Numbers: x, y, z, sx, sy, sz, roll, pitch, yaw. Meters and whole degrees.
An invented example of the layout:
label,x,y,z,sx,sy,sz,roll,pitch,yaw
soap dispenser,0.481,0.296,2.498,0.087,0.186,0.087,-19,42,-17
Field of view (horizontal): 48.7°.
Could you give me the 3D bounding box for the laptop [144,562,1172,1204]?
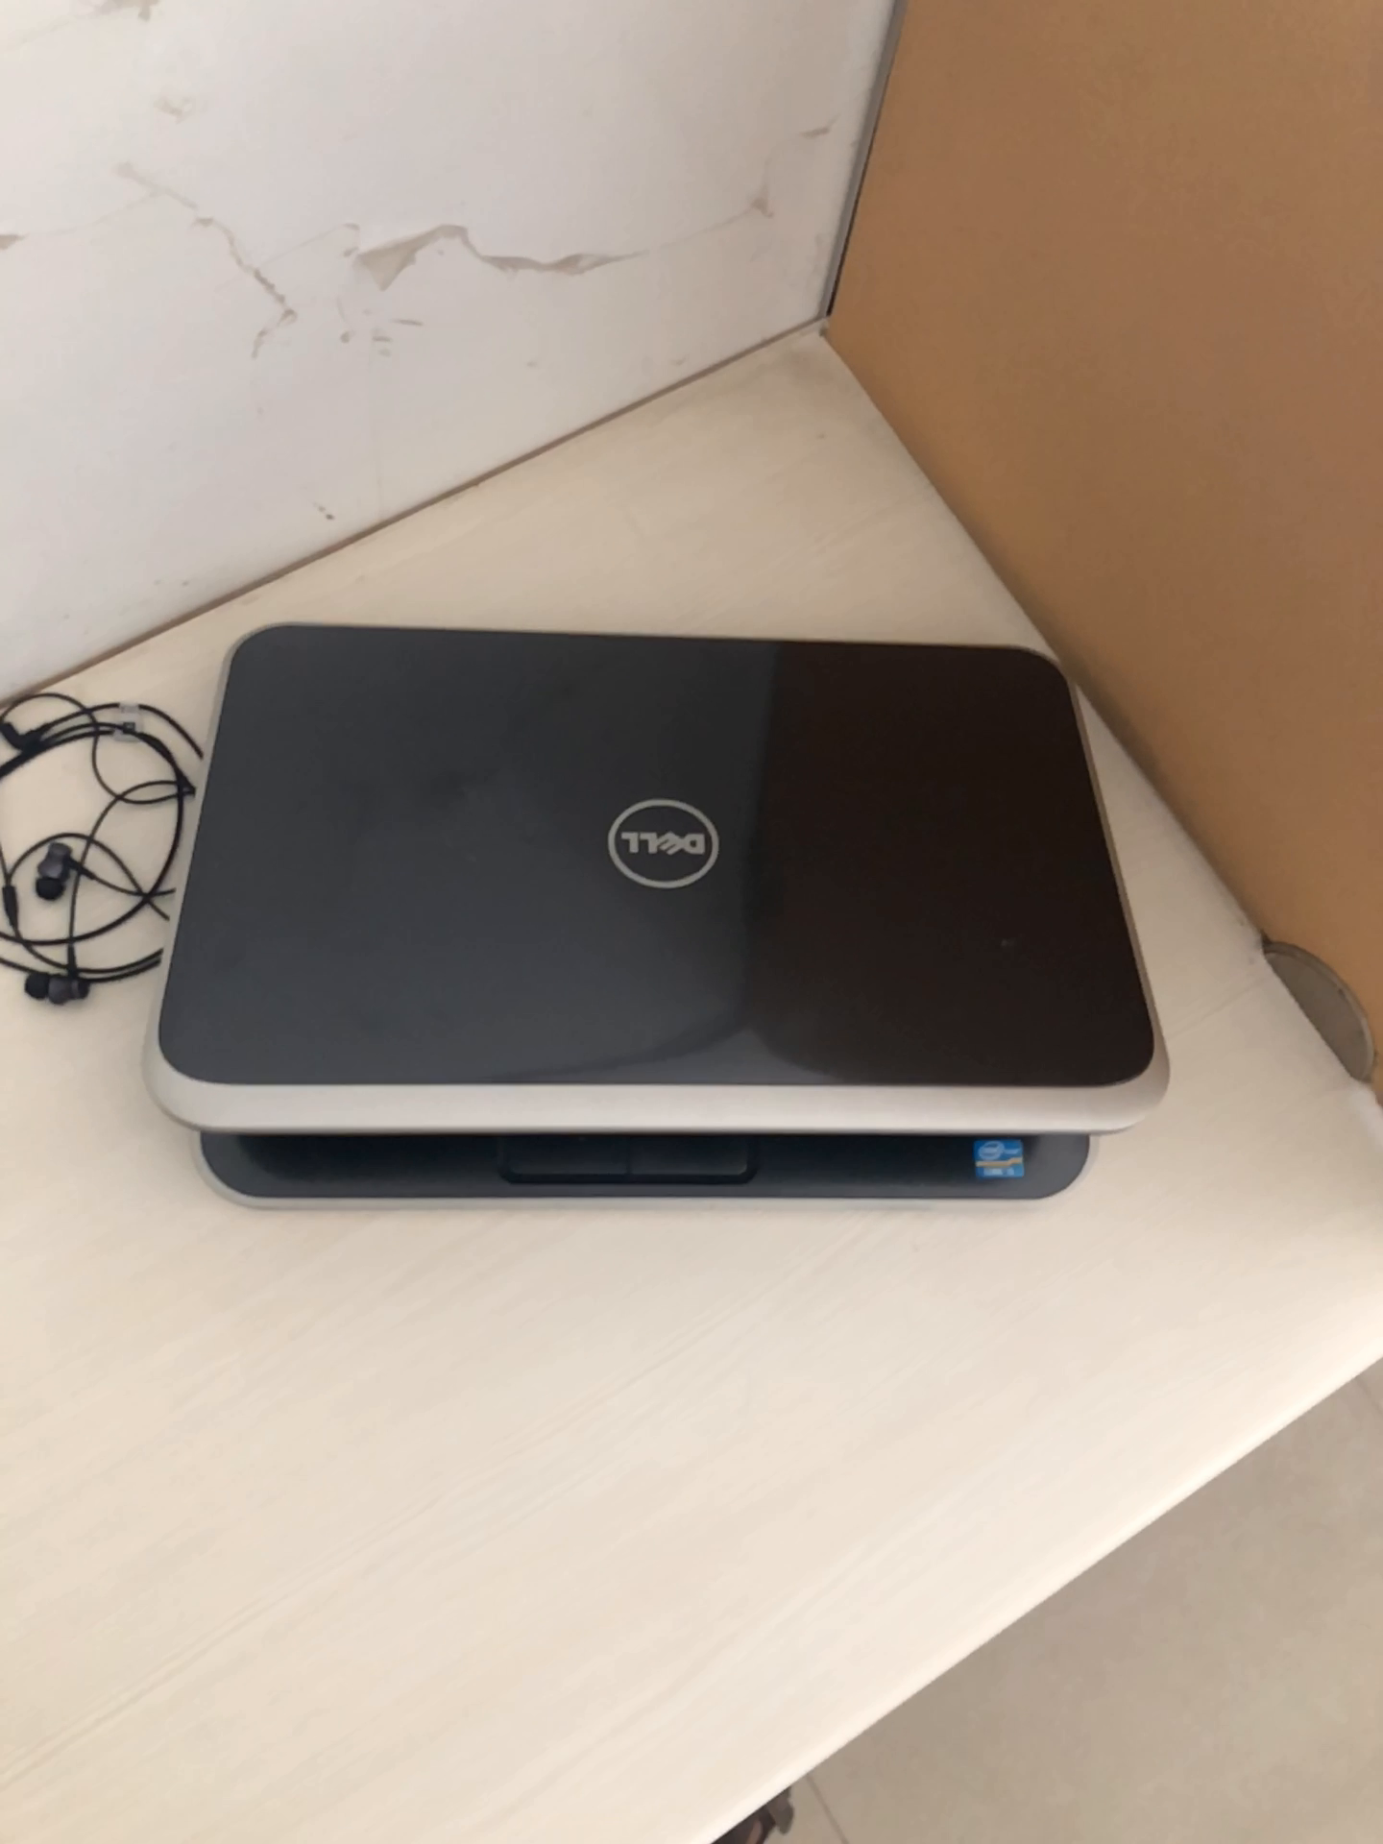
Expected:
label,x,y,z,sx,sy,sz,roll,pitch,yaw
laptop,-0.011,-0.012,0.615,0.357,0.094,0.239,1,71,-4
